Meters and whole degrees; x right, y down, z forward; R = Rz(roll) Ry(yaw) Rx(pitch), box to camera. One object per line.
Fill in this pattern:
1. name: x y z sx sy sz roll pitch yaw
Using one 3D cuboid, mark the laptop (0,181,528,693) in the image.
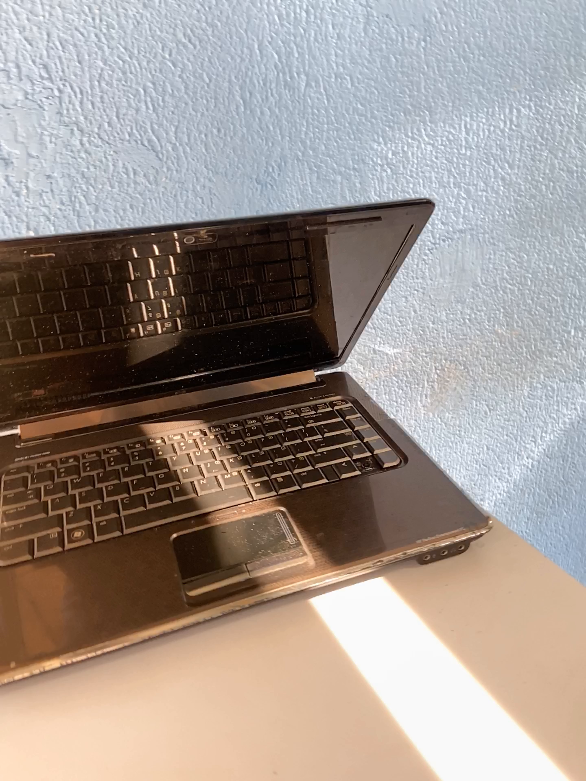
1. laptop: -0.070 -0.014 0.426 0.344 0.190 0.246 -11 29 -17
